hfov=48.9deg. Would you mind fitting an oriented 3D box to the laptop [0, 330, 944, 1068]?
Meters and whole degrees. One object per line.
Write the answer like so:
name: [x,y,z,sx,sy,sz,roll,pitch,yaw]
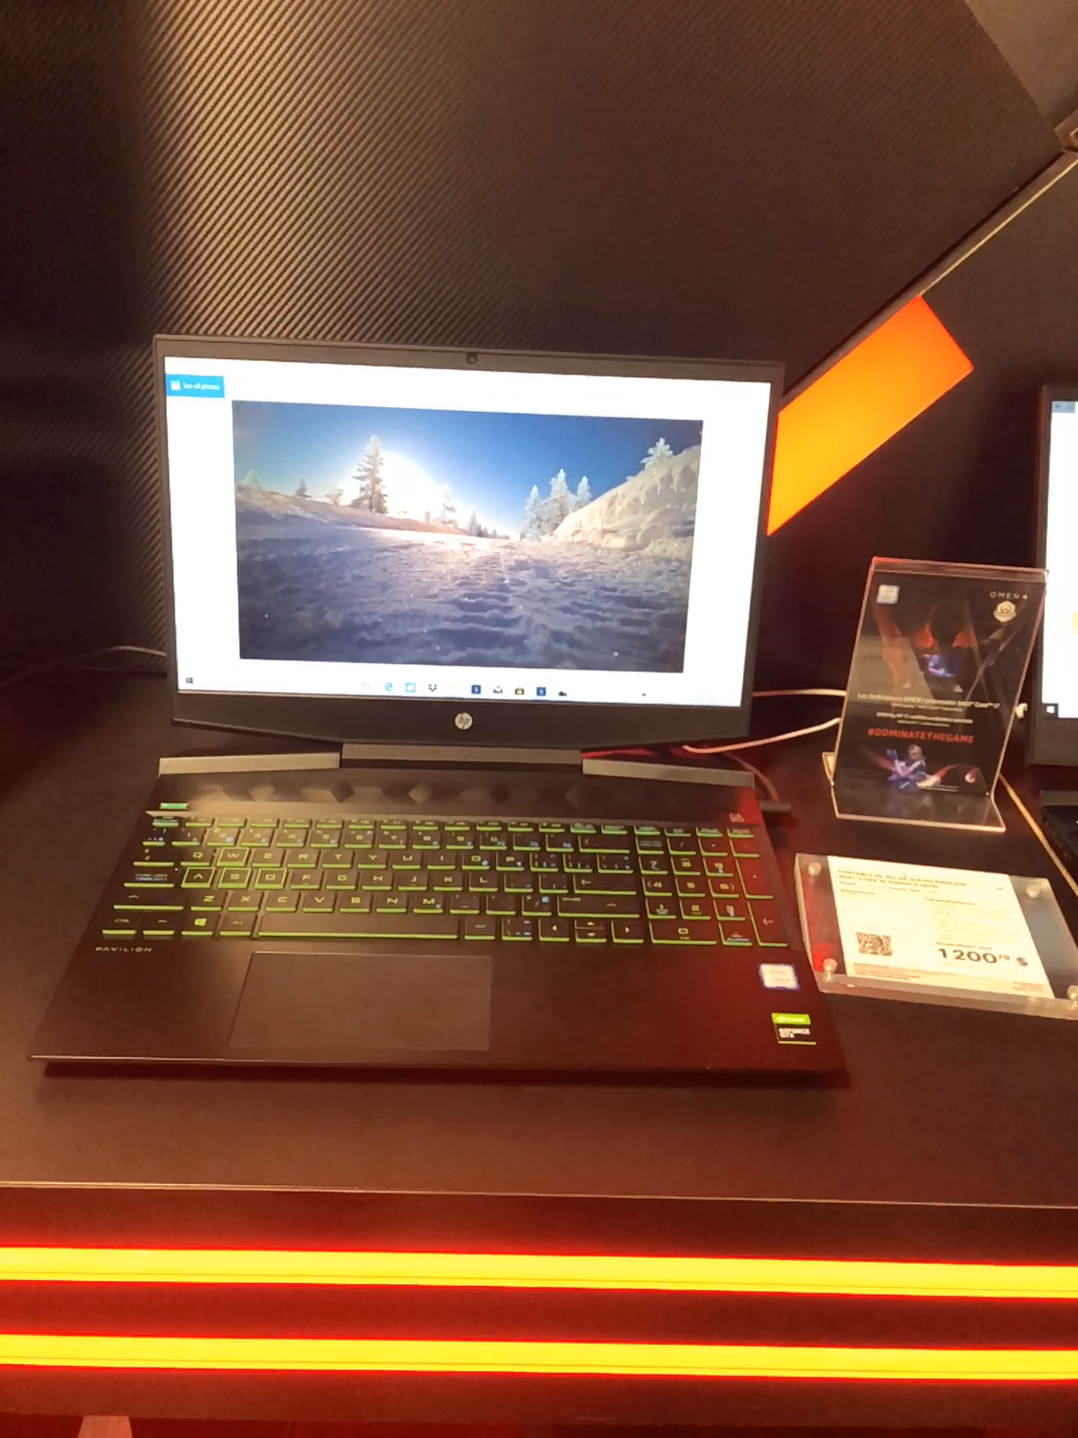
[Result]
laptop: [-0.040,-0.036,0.604,0.355,0.240,0.316,1,28,-1]
